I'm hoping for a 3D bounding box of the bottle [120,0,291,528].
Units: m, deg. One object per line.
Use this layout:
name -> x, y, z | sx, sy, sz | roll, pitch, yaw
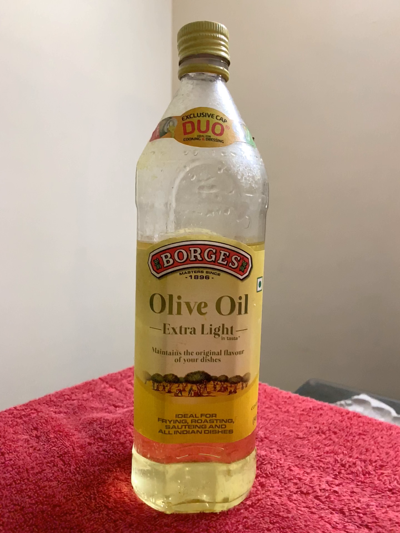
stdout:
bottle -> -0.001, 0.001, 0.244 | 0.080, 0.269, 0.070 | 0, 6, -3
